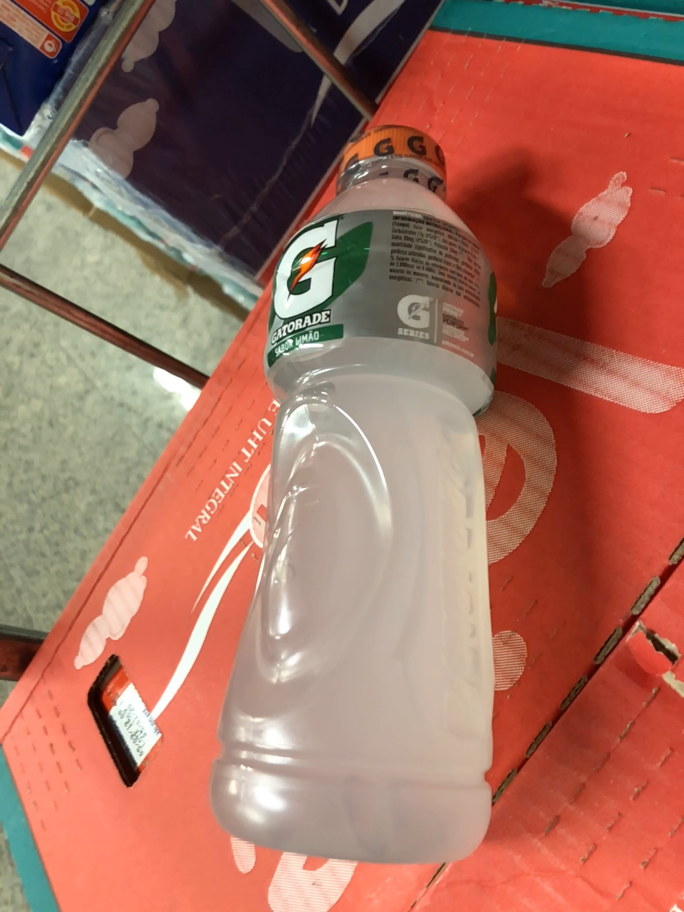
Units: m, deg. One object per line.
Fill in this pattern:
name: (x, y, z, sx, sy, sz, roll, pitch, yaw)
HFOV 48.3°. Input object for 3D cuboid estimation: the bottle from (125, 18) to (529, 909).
bottle: (0.006, -0.005, 0.211, 0.070, 0.060, 0.210, -11, 64, 38)

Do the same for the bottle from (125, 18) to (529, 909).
bottle: (0.006, -0.005, 0.211, 0.070, 0.060, 0.210, -11, 64, 38)
